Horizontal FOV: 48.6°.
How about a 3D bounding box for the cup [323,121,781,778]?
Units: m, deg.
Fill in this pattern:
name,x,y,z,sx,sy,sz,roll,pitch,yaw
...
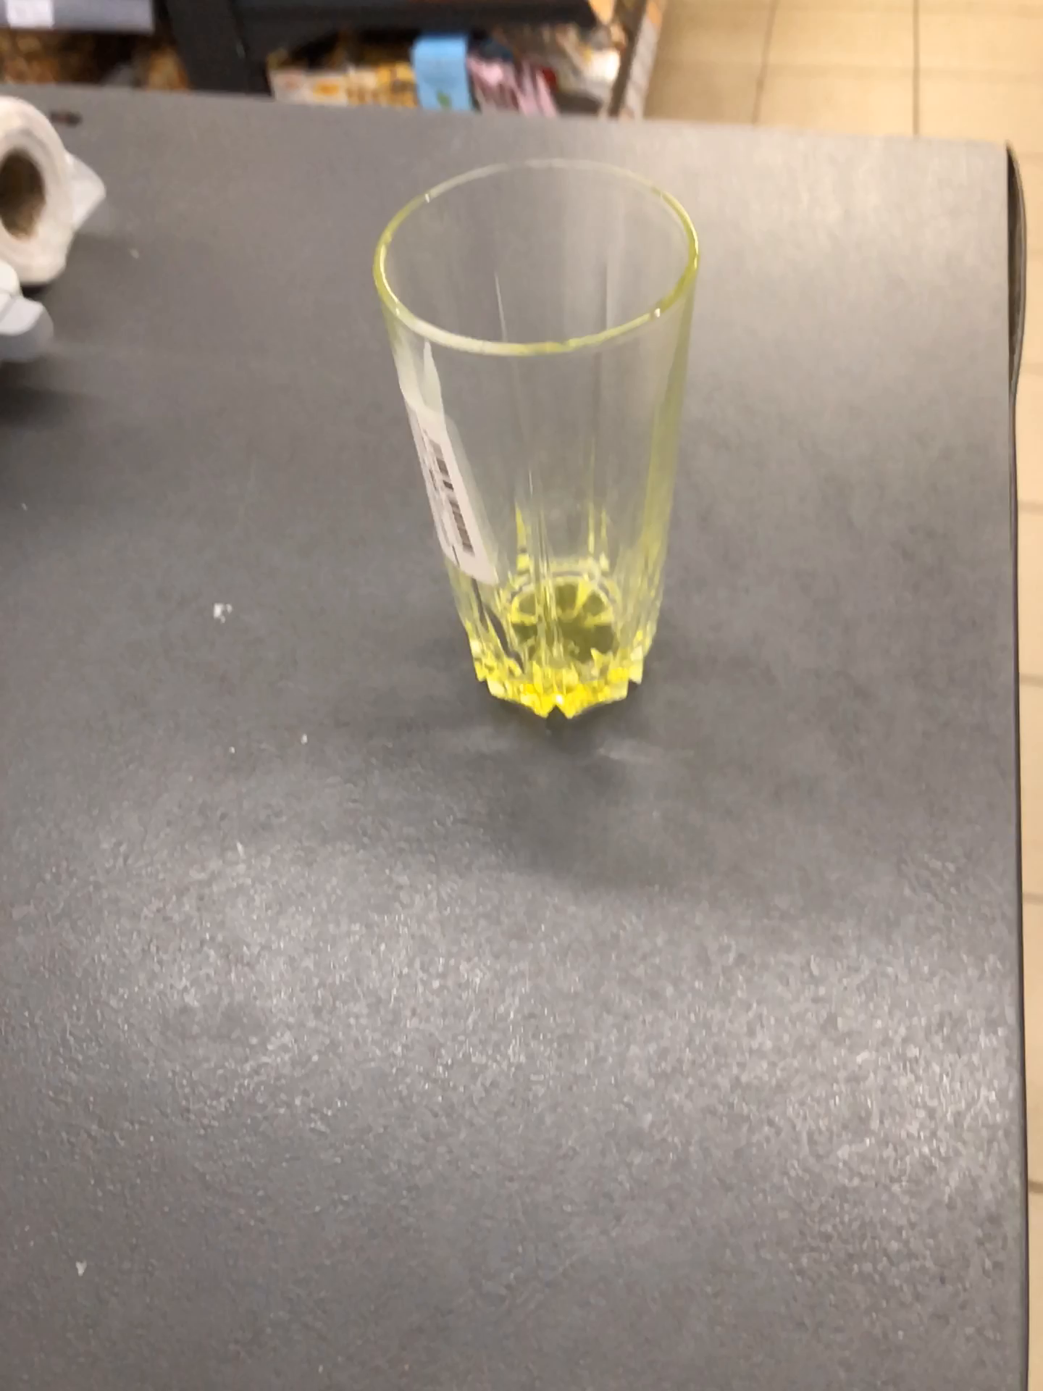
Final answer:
name,x,y,z,sx,sy,sz,roll,pitch,yaw
cup,0.008,-0.057,0.299,0.070,0.134,0.075,-2,54,3
